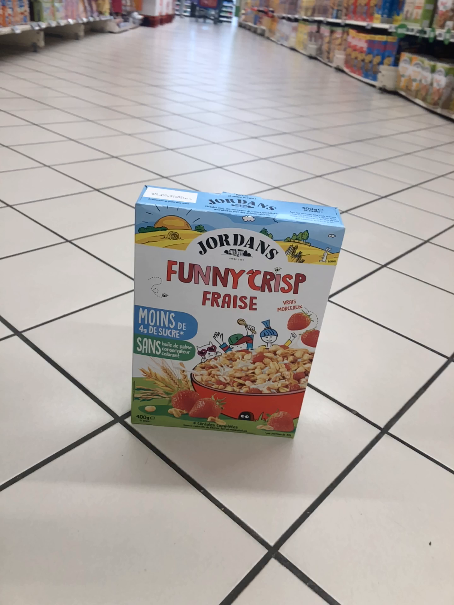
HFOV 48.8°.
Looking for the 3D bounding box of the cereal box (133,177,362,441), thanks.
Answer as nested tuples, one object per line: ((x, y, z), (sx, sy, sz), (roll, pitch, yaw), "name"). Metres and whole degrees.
((0.007, 0.015, 0.458), (0.170, 0.229, 0.050), (6, 29, -2), "cereal box")
